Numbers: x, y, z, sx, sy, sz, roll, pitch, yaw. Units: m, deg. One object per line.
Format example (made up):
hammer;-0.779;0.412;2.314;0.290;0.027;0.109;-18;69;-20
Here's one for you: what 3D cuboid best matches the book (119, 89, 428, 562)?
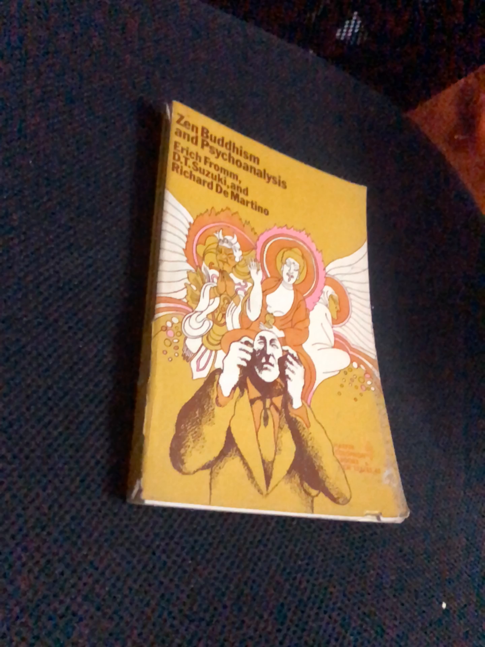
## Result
book;0.015;-0.002;0.253;0.137;0.020;0.200;11;63;-31
